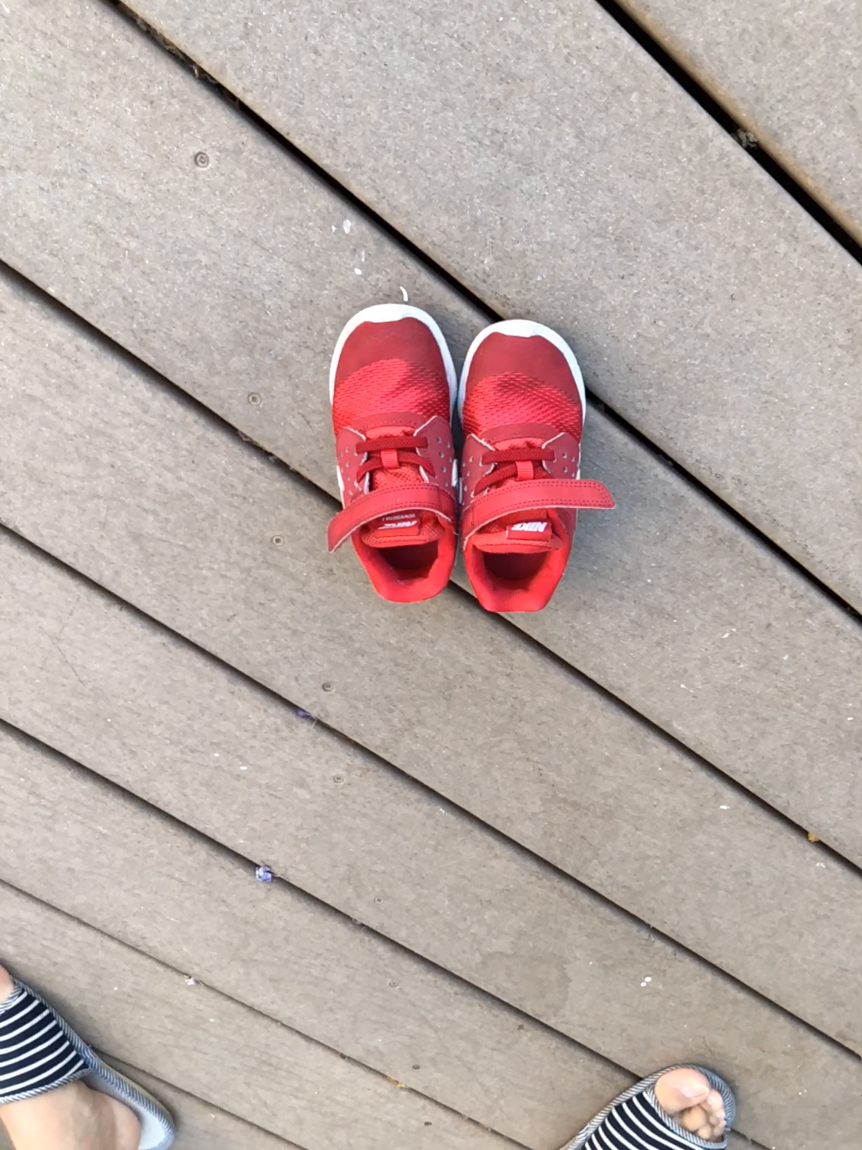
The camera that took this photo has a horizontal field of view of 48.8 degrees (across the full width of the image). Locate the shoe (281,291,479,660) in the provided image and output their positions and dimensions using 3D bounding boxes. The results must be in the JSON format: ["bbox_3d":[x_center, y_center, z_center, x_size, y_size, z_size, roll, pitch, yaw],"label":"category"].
[{"bbox_3d":[-0.020,-0.051,0.502,0.077,0.087,0.168,-4,119,3],"label":"shoe"}]

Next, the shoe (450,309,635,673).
[{"bbox_3d":[0.050,-0.043,0.497,0.077,0.087,0.168,1,120,0],"label":"shoe"}]
